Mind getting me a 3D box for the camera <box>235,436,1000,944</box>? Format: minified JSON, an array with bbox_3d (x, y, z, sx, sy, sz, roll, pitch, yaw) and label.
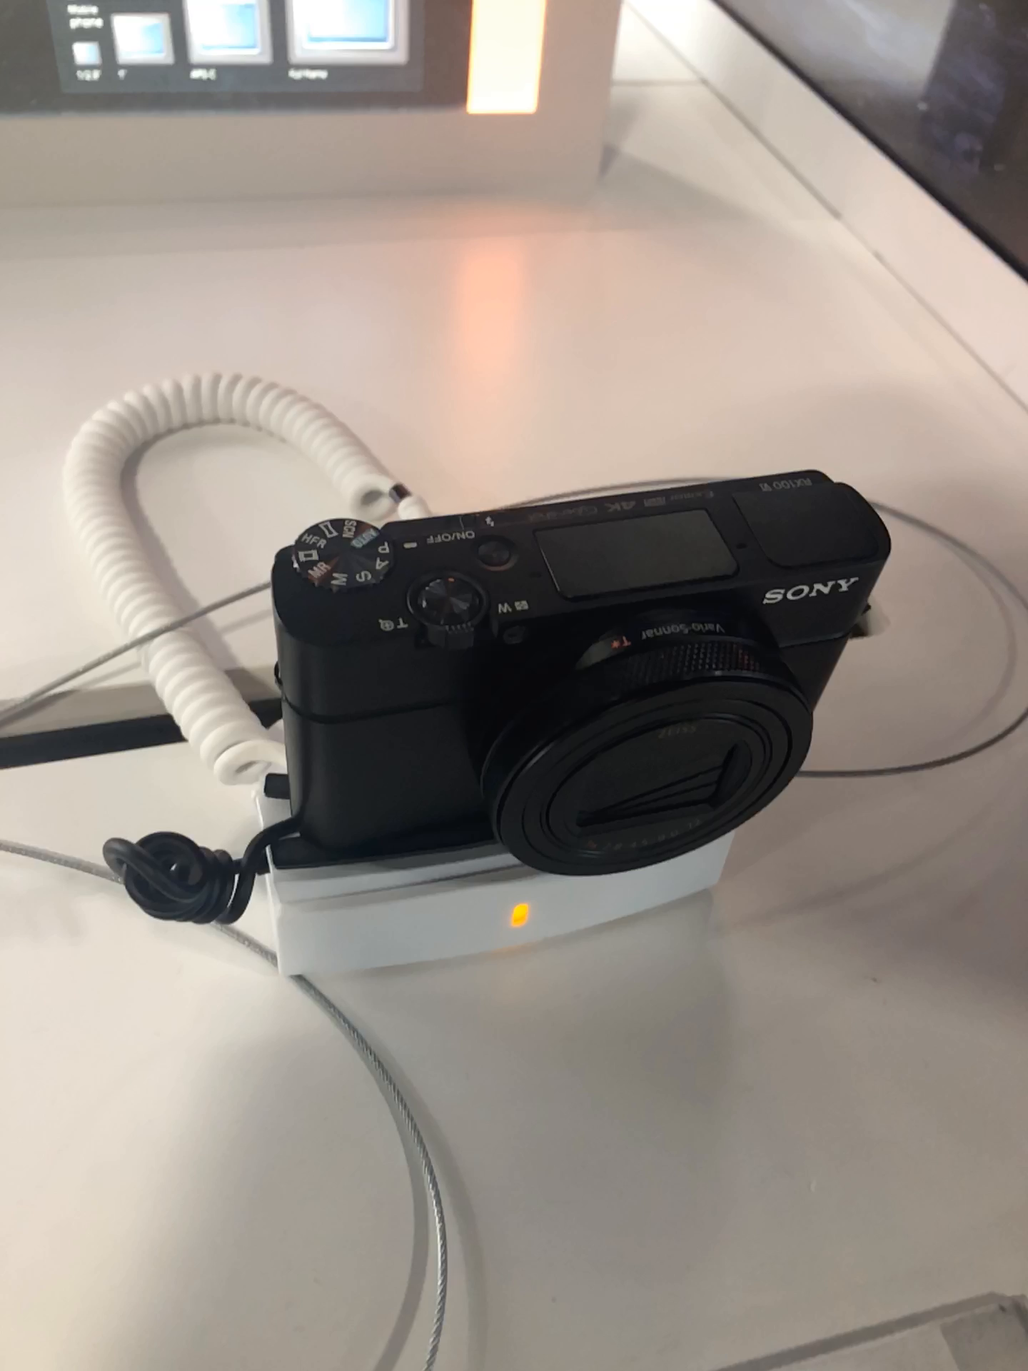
[{"bbox_3d":[0.013,0.000,0.194,0.109,0.060,0.040,-9,49,-14],"label":"camera"}]
